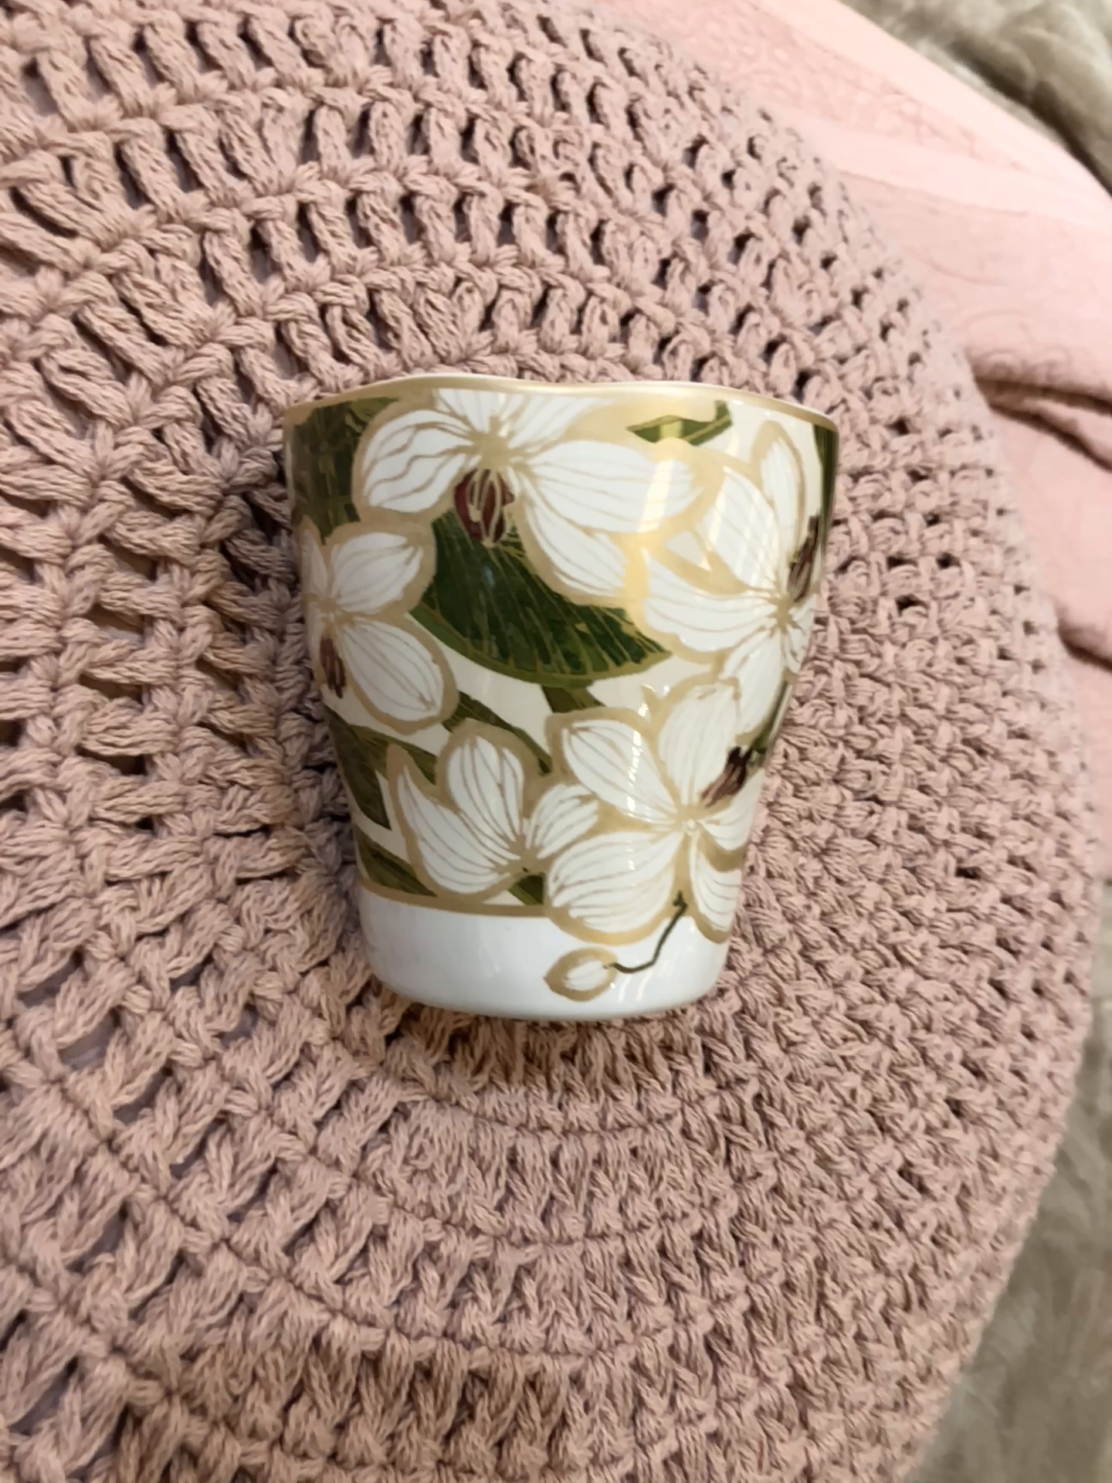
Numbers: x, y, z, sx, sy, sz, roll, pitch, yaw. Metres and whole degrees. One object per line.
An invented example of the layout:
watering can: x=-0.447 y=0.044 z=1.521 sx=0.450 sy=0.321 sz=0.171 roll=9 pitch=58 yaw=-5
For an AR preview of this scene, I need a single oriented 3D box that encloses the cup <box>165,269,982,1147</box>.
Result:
cup: x=0.009 y=-0.010 z=0.250 sx=0.141 sy=0.090 sz=0.120 roll=-5 pitch=98 yaw=-46
